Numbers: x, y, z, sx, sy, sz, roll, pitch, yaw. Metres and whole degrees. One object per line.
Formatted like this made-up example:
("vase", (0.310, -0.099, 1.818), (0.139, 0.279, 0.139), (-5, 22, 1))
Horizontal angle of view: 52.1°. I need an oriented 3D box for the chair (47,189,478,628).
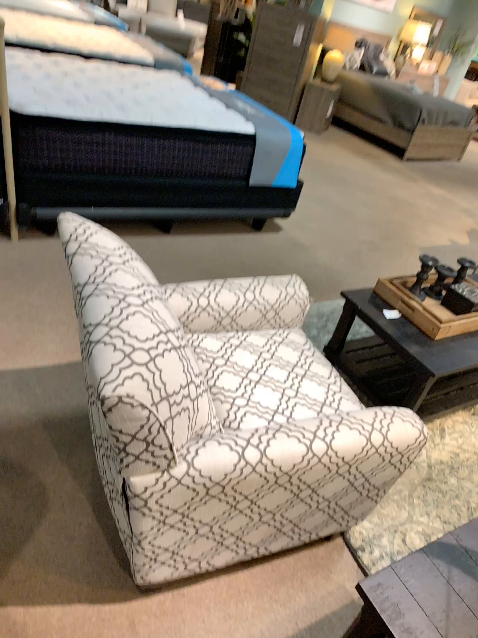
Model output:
("chair", (-0.064, 0.191, 1.585), (0.965, 0.847, 0.877), (-3, 38, -26))
